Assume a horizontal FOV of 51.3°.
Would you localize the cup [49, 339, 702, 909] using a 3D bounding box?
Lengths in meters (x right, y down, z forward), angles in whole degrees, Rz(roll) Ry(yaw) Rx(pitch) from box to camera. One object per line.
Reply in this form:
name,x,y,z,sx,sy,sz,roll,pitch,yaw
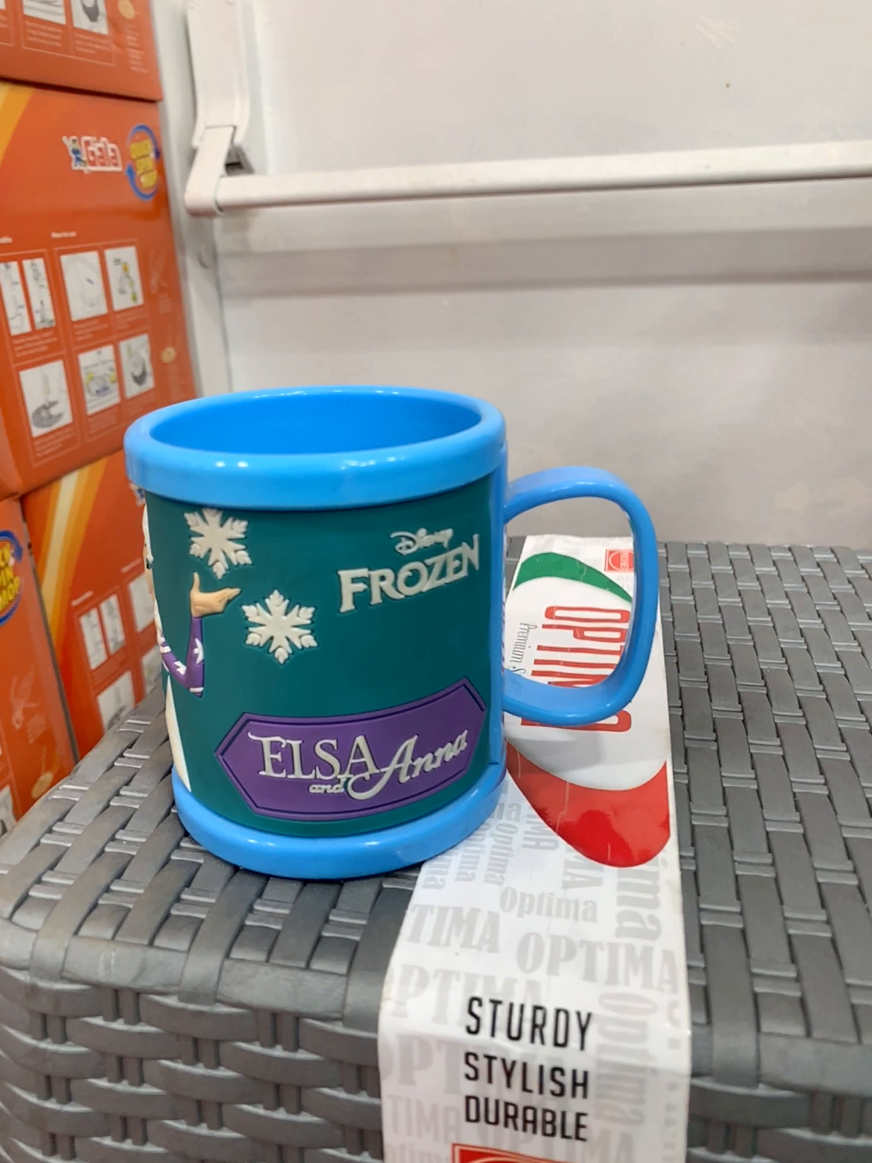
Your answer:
cup,-0.010,0.003,0.208,0.110,0.099,0.081,-3,21,-2
